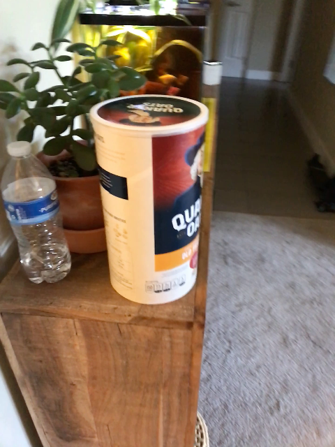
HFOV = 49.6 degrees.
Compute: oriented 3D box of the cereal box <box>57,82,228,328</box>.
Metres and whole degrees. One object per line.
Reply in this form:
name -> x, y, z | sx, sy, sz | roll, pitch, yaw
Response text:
cereal box -> -0.021, -0.024, 0.454 | 0.140, 0.248, 0.141 | 12, 35, 14
